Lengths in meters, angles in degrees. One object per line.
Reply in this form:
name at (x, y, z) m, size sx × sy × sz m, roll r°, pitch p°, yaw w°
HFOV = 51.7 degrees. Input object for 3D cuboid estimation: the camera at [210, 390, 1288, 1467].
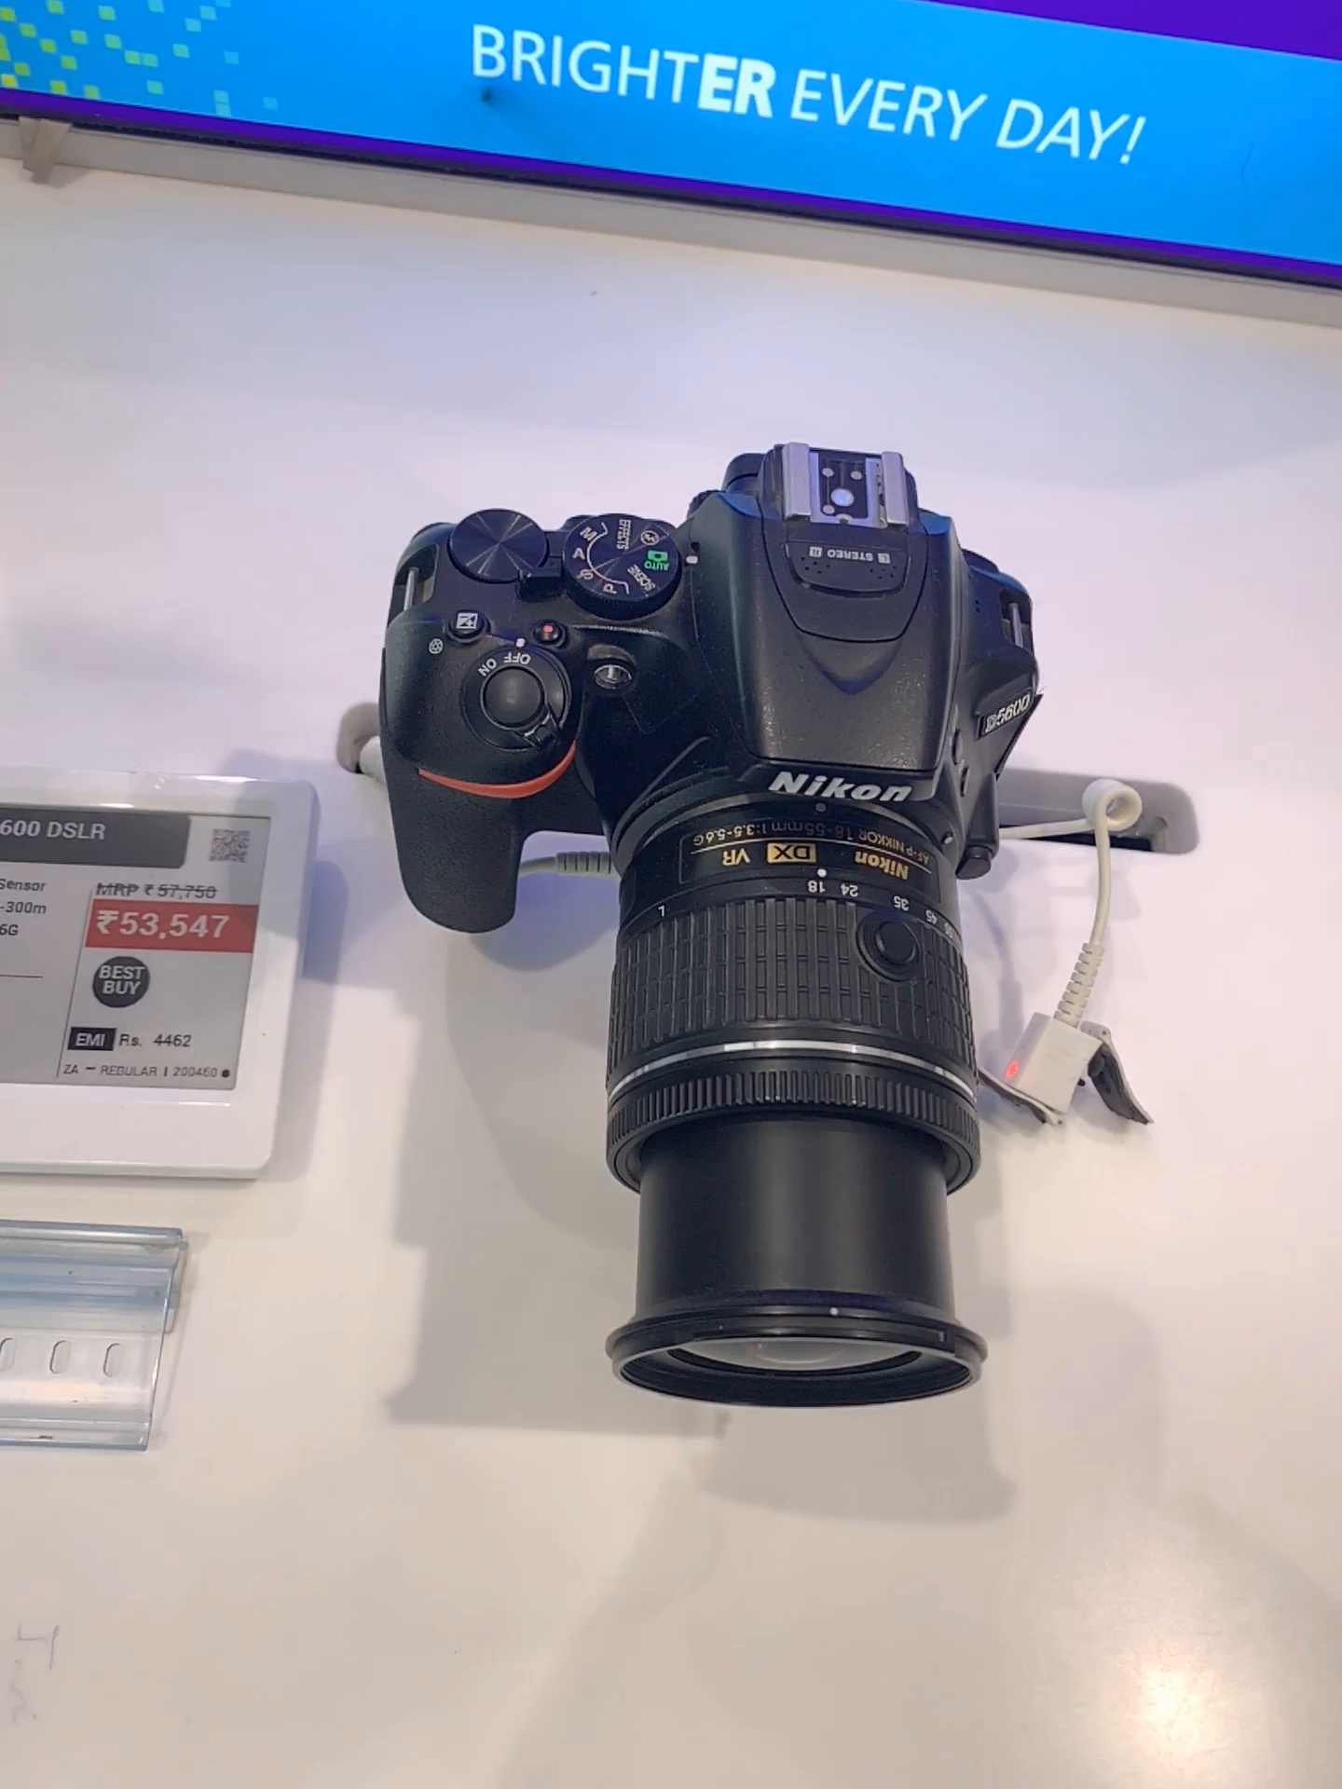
camera at (0.005, 0.010, 0.227) m, size 0.116 × 0.100 × 0.141 m, roll 2°, pitch 60°, yaw -5°
